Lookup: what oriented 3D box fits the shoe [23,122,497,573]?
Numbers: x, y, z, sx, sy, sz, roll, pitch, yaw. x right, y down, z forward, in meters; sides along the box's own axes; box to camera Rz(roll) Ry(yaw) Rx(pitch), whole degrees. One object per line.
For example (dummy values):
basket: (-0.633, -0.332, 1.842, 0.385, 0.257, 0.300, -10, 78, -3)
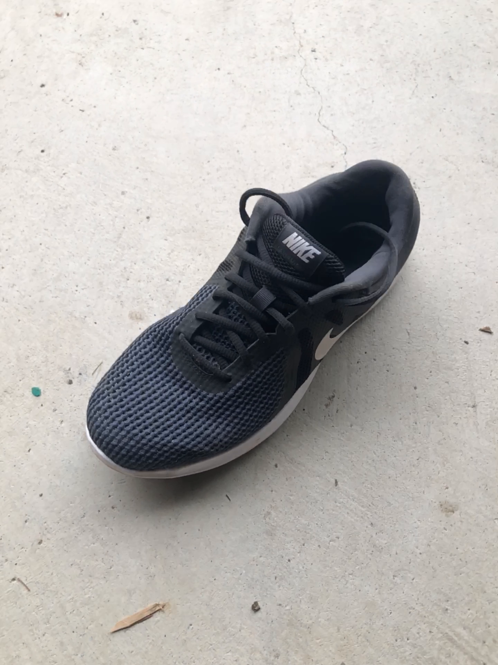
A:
shoe: (0.015, 0.005, 0.392, 0.291, 0.100, 0.130, -42, 79, -15)
